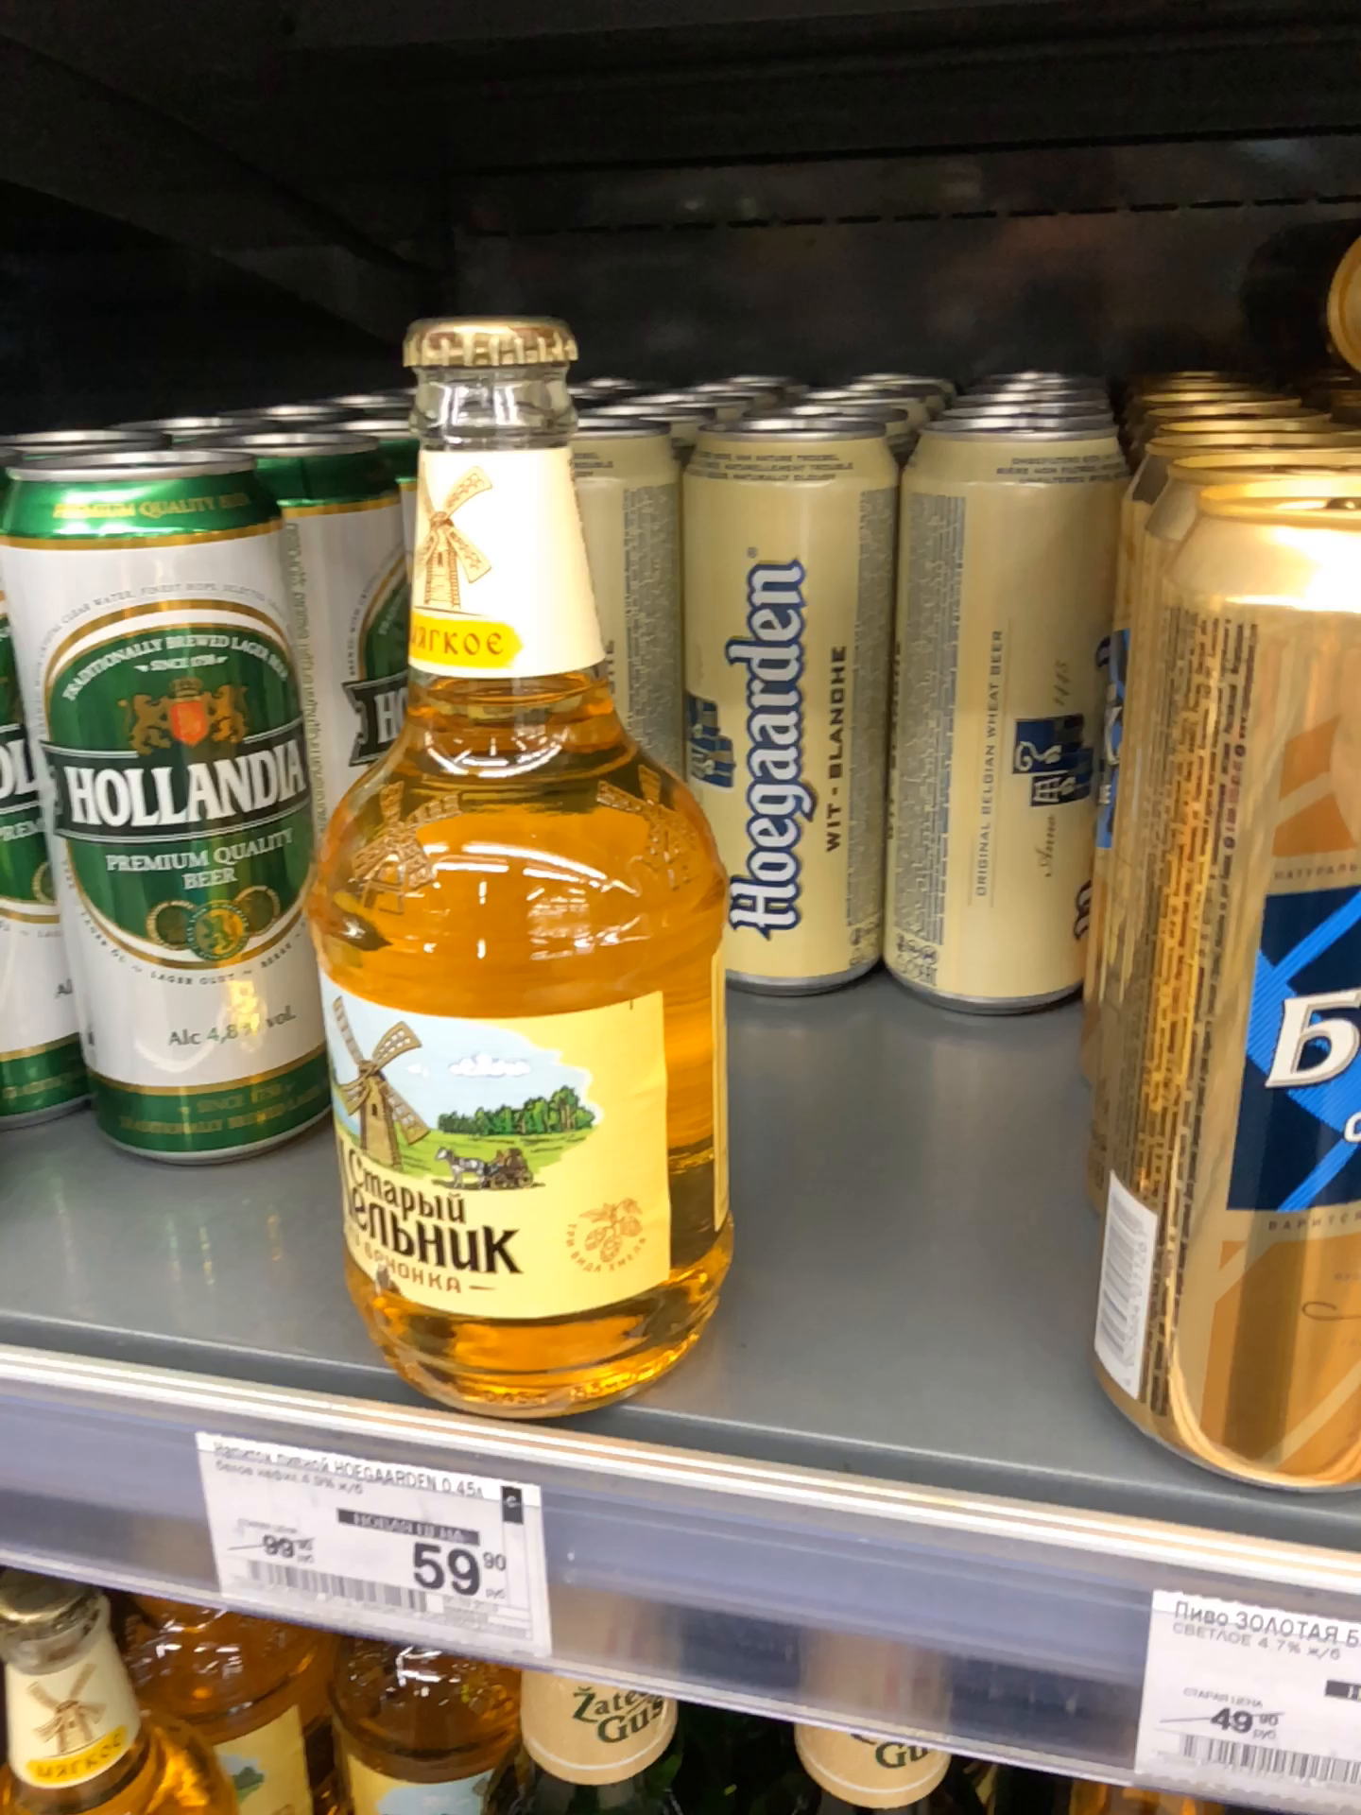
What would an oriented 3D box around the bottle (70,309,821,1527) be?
[{"bbox_3d":[-0.035,-0.006,0.277,0.090,0.192,0.080,14,25,34],"label":"bottle"}]
